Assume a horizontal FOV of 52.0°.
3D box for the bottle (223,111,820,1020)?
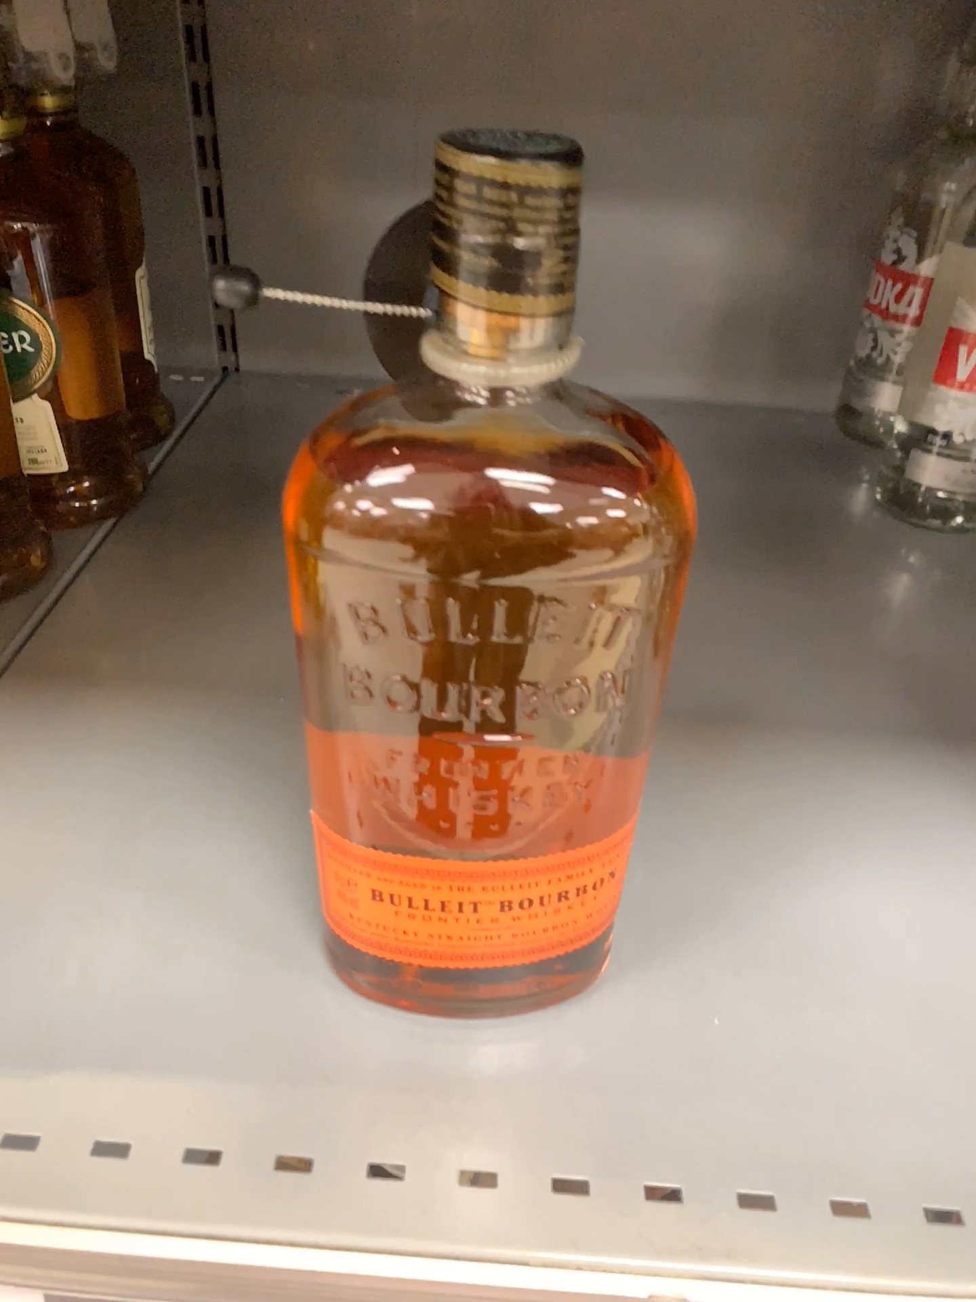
[{"bbox_3d":[0.000,-0.003,0.256,0.100,0.228,0.061,1,34,-3],"label":"bottle"}]
